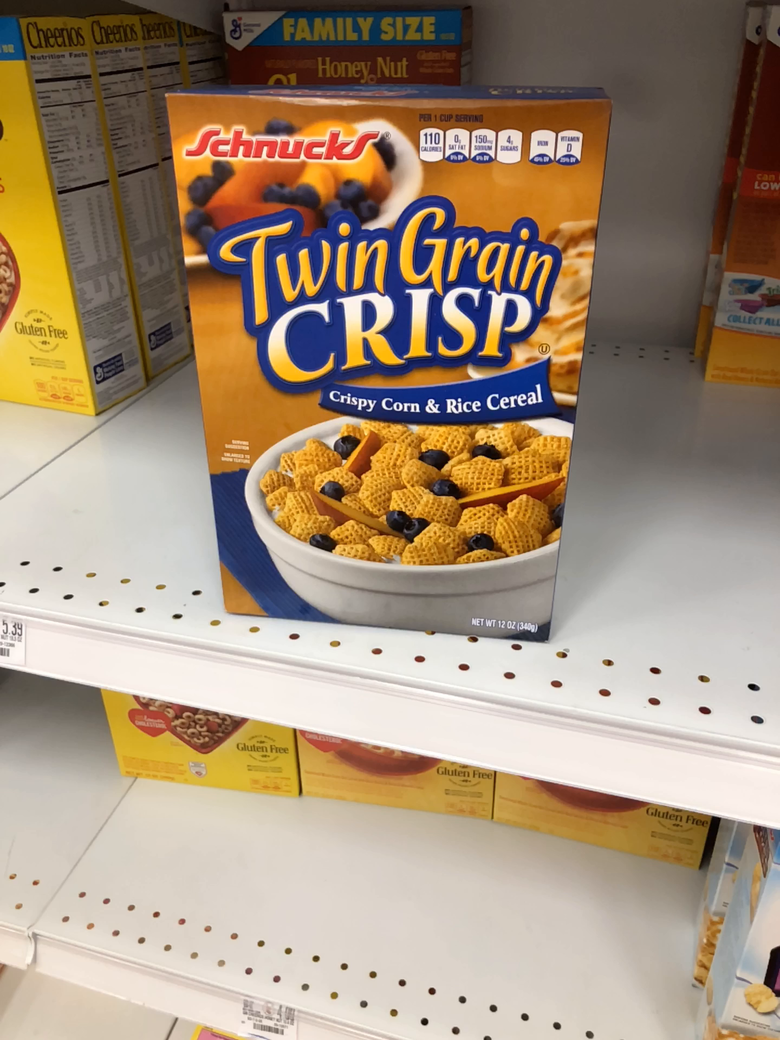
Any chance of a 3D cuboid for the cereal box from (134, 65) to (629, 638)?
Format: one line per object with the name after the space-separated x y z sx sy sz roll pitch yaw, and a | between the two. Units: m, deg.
-0.002 -0.080 0.468 0.210 0.289 0.070 4 32 7 | cereal box
